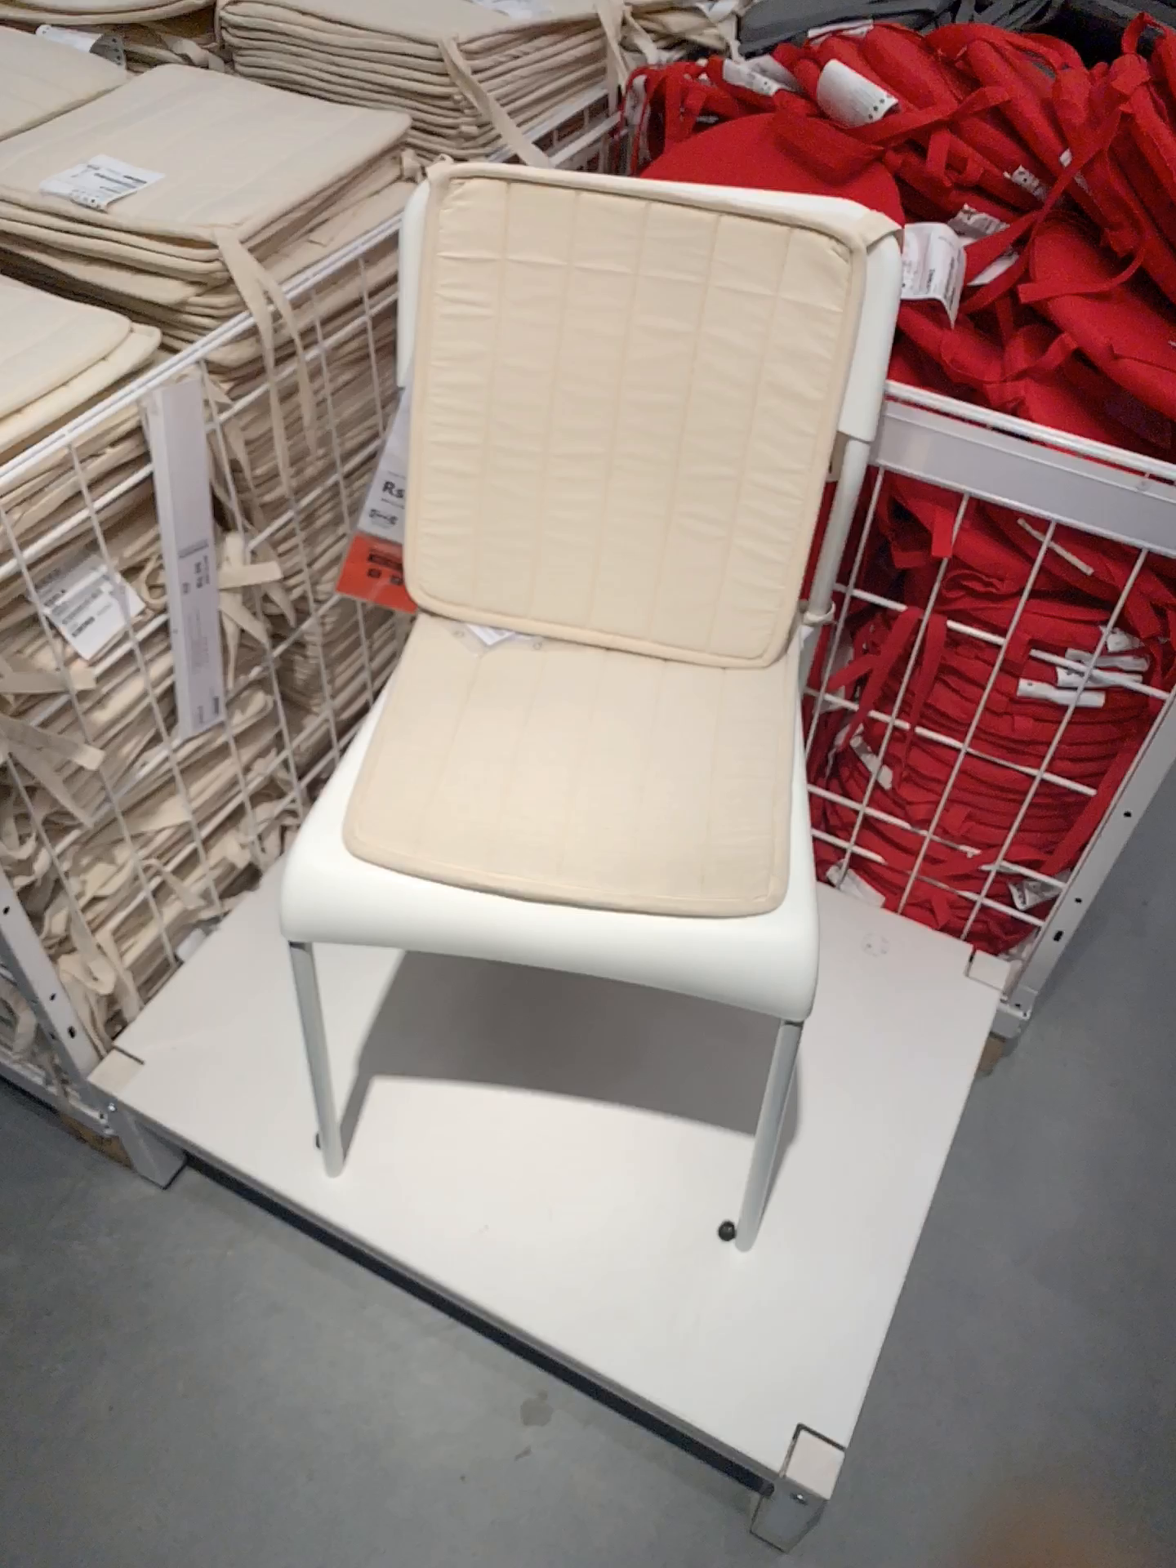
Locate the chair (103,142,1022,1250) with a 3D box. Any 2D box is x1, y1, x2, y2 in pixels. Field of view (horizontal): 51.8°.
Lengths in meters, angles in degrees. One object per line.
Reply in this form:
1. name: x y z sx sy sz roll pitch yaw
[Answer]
1. chair: 0.007 -0.037 0.975 0.430 0.698 0.482 8 47 5
